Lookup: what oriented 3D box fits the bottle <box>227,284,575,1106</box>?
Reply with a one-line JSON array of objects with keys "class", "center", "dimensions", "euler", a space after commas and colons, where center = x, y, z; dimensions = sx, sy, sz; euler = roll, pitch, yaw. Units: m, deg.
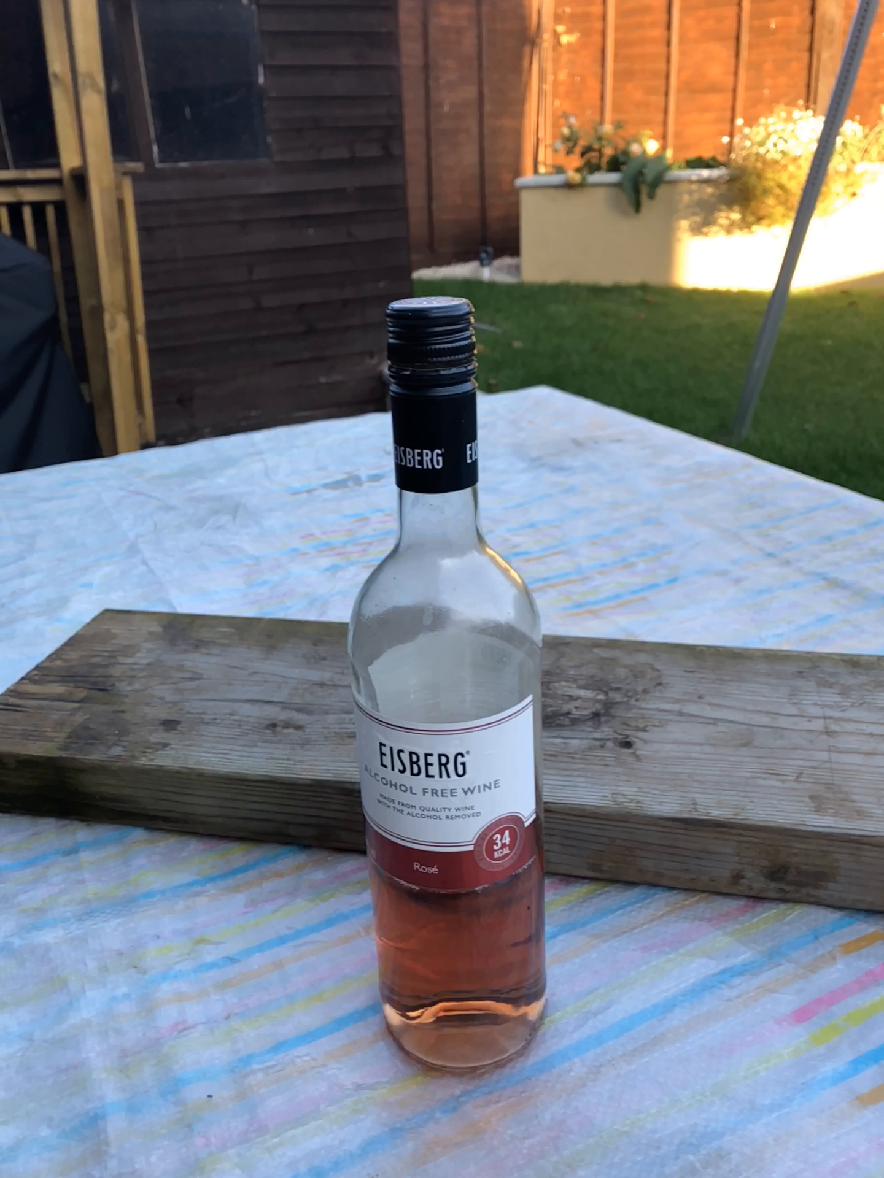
[{"class": "bottle", "center": [-0.001, 0.044, 0.359], "dimensions": [0.090, 0.288, 0.081], "euler": [3, 23, 14]}]
